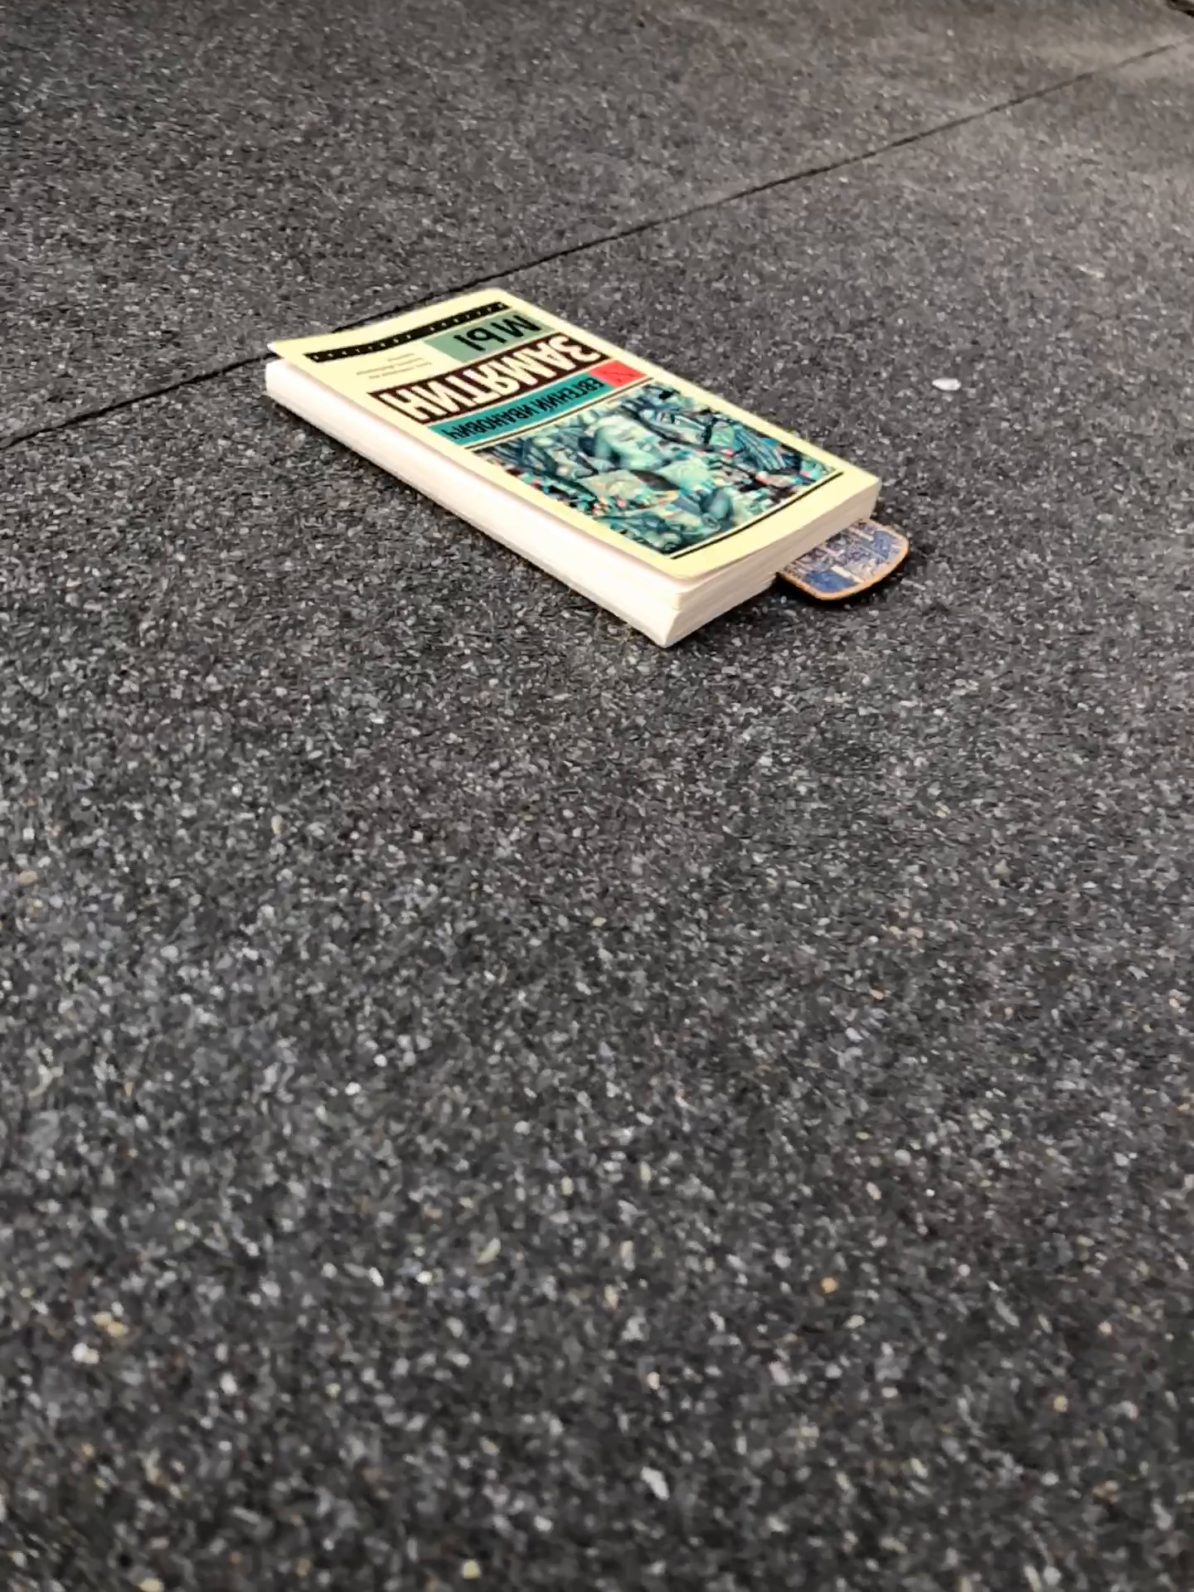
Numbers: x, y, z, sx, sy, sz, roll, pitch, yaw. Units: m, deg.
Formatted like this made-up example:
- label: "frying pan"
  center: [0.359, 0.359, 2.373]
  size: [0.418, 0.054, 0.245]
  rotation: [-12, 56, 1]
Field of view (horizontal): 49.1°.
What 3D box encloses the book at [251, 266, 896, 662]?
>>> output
- label: "book"
  center: [-0.009, -0.122, 0.441]
  size: [0.181, 0.026, 0.121]
  rotation: [34, 47, 24]
